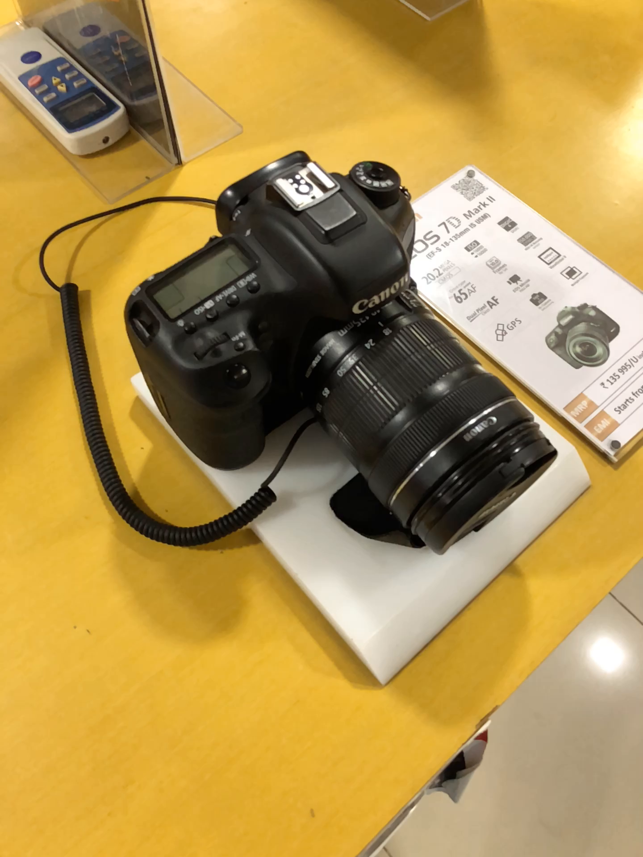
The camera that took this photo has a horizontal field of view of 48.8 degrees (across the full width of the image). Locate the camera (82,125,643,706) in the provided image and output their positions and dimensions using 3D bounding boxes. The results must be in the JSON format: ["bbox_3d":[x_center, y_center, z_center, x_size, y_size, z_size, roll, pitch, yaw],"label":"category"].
[{"bbox_3d":[0.018,-0.008,0.293,0.130,0.110,0.170,-37,68,-21],"label":"camera"}]
